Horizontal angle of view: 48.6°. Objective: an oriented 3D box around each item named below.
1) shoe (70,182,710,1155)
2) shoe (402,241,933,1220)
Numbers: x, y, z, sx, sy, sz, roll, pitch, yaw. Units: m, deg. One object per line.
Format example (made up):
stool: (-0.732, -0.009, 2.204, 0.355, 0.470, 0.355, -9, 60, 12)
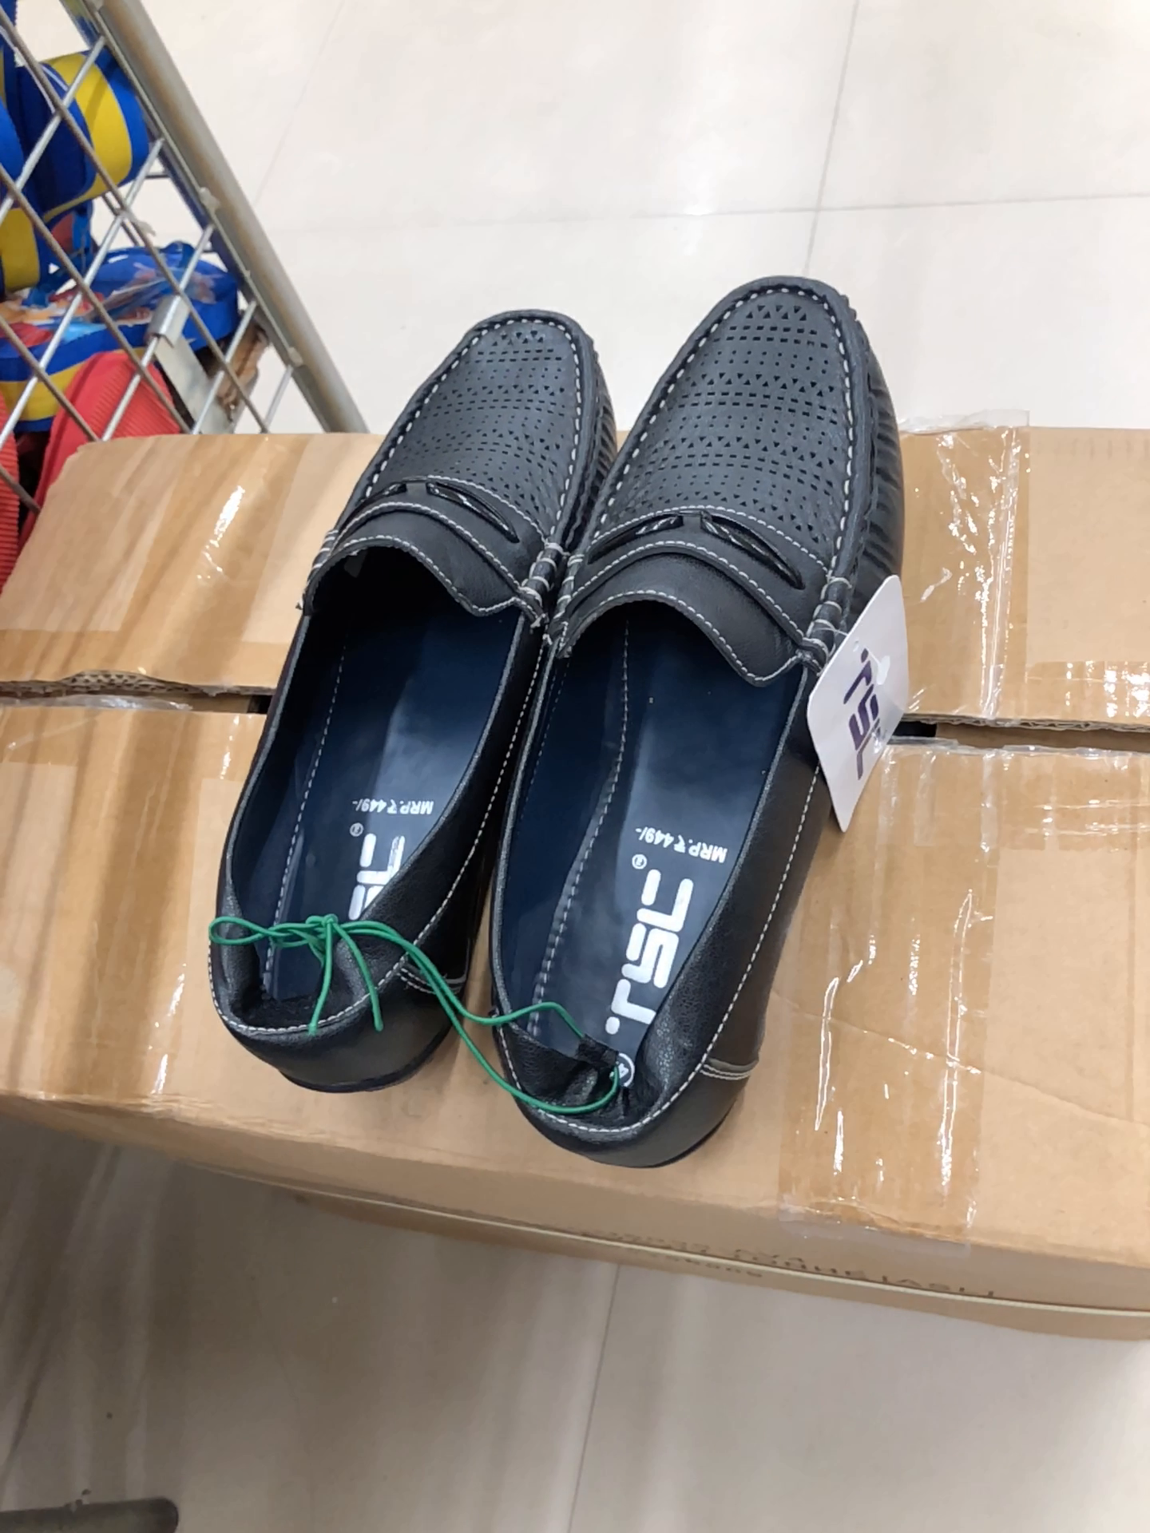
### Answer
shoe: (-0.040, -0.046, 0.423, 0.100, 0.090, 0.311, 7, 65, 18)
shoe: (0.048, -0.026, 0.424, 0.100, 0.090, 0.311, 7, 65, 18)
